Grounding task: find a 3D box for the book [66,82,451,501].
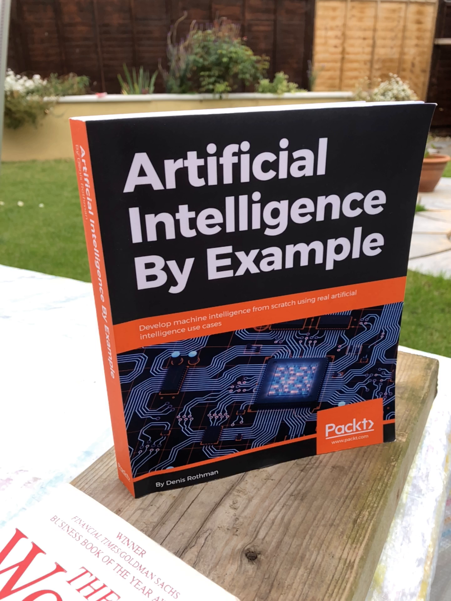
[{"bbox_3d":[0.026,-0.005,0.314,0.210,0.239,0.040,-7,22,-14],"label":"book"}]
